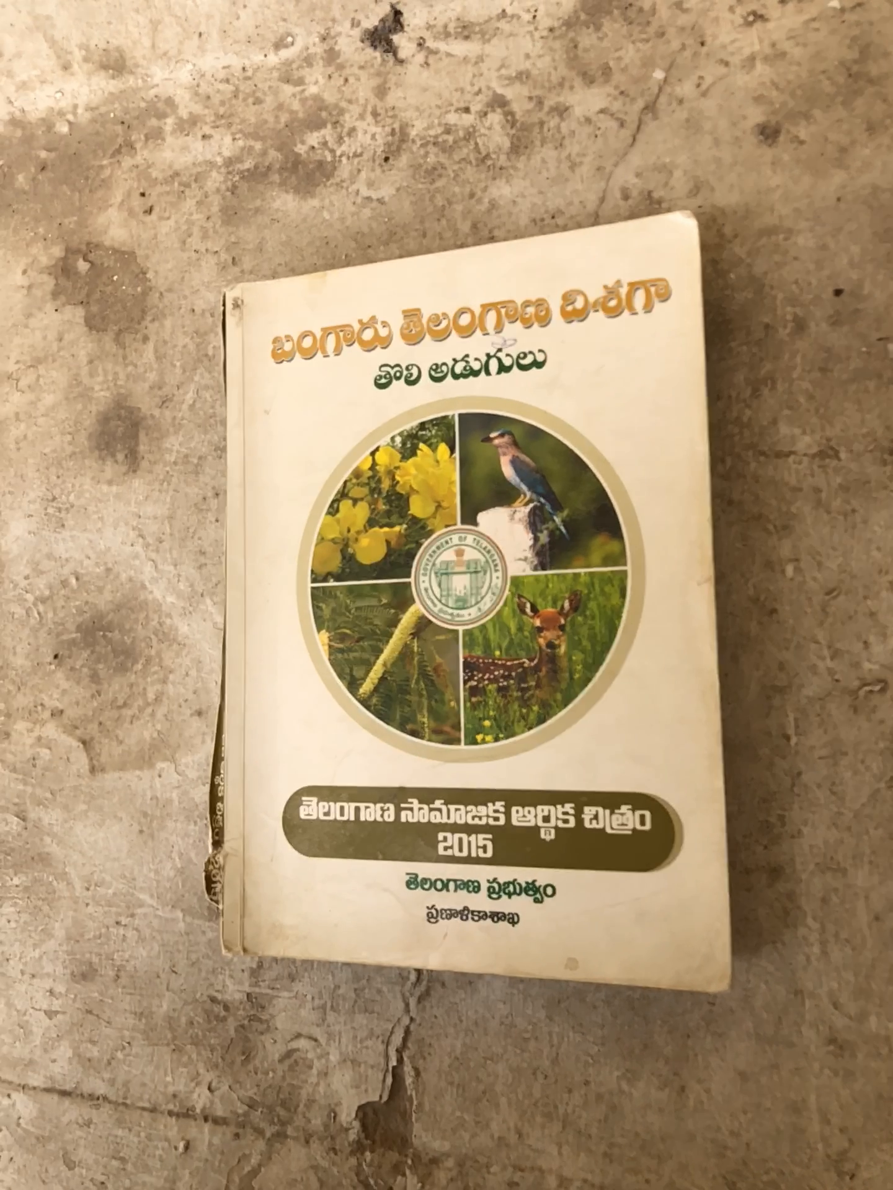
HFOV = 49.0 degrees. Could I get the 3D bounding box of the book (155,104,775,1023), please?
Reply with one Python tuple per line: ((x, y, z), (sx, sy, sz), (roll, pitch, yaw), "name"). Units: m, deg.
((0.002, -0.009, 0.372), (0.220, 0.060, 0.290), (-2, 85, 19), "book")
